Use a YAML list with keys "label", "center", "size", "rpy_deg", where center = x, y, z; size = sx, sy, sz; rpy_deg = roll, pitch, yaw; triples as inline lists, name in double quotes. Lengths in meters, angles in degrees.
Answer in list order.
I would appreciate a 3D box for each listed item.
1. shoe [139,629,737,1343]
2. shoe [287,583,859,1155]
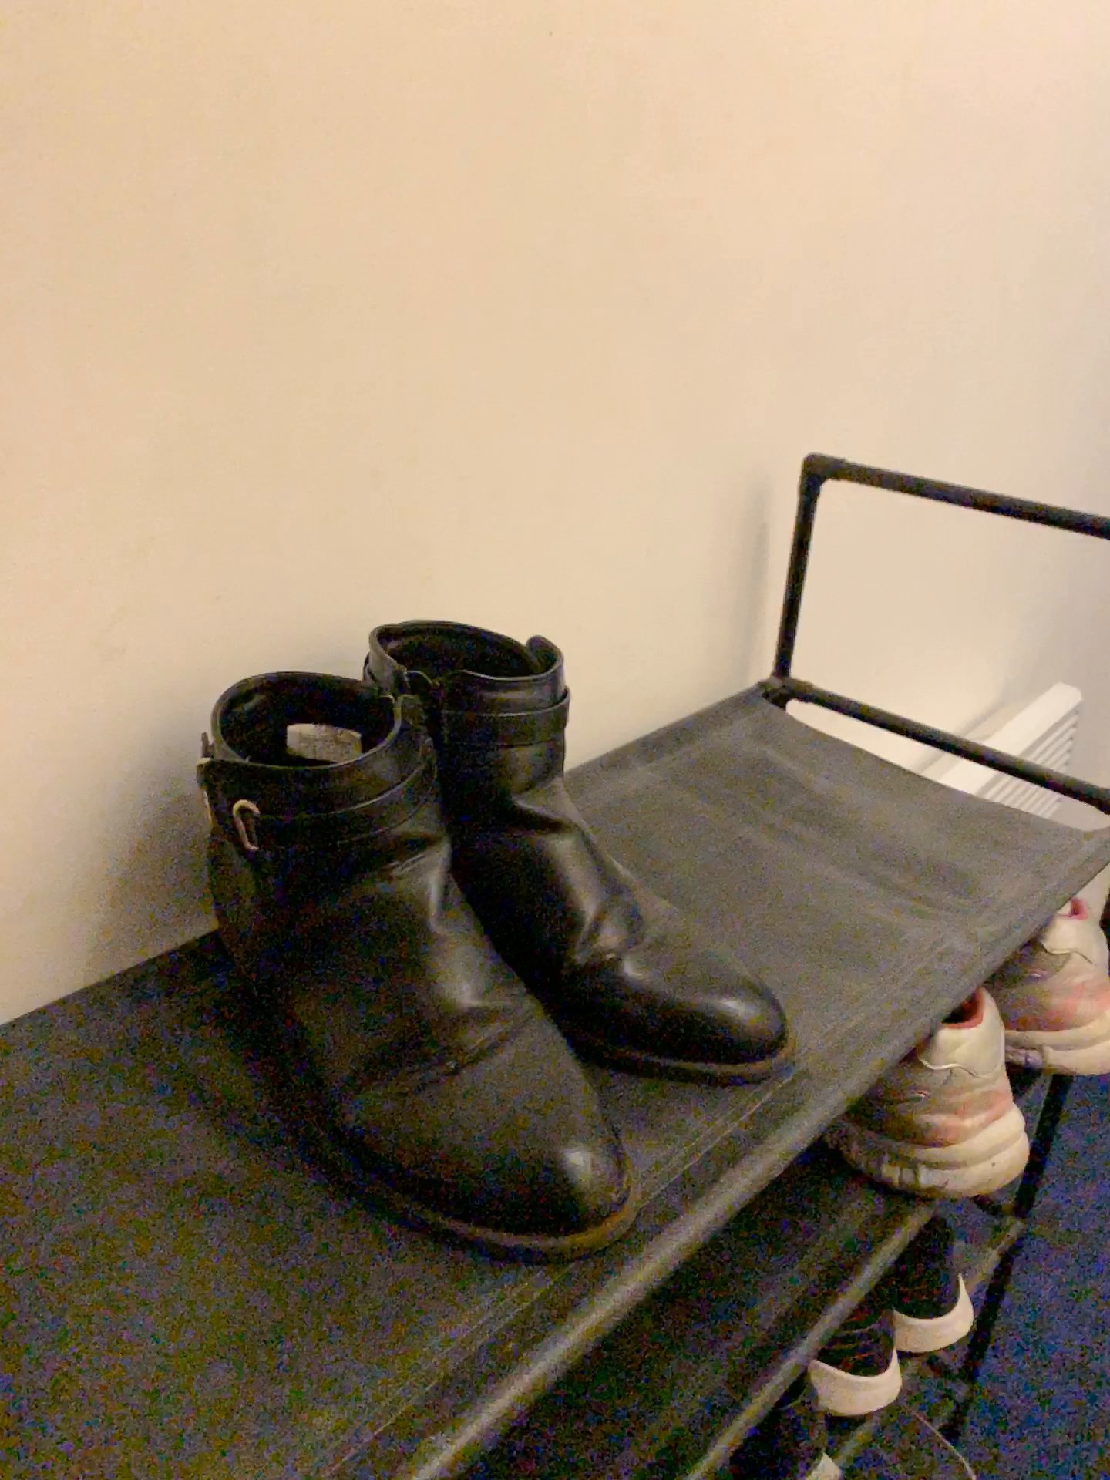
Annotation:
- label: "shoe"
  center: [-0.055, 0.076, 0.452]
  size: [0.100, 0.169, 0.221]
  rpy_deg: [-20, 33, -41]
- label: "shoe"
  center: [-0.002, 0.043, 0.537]
  size: [0.241, 0.169, 0.101]
  rpy_deg: [19, 29, 33]
